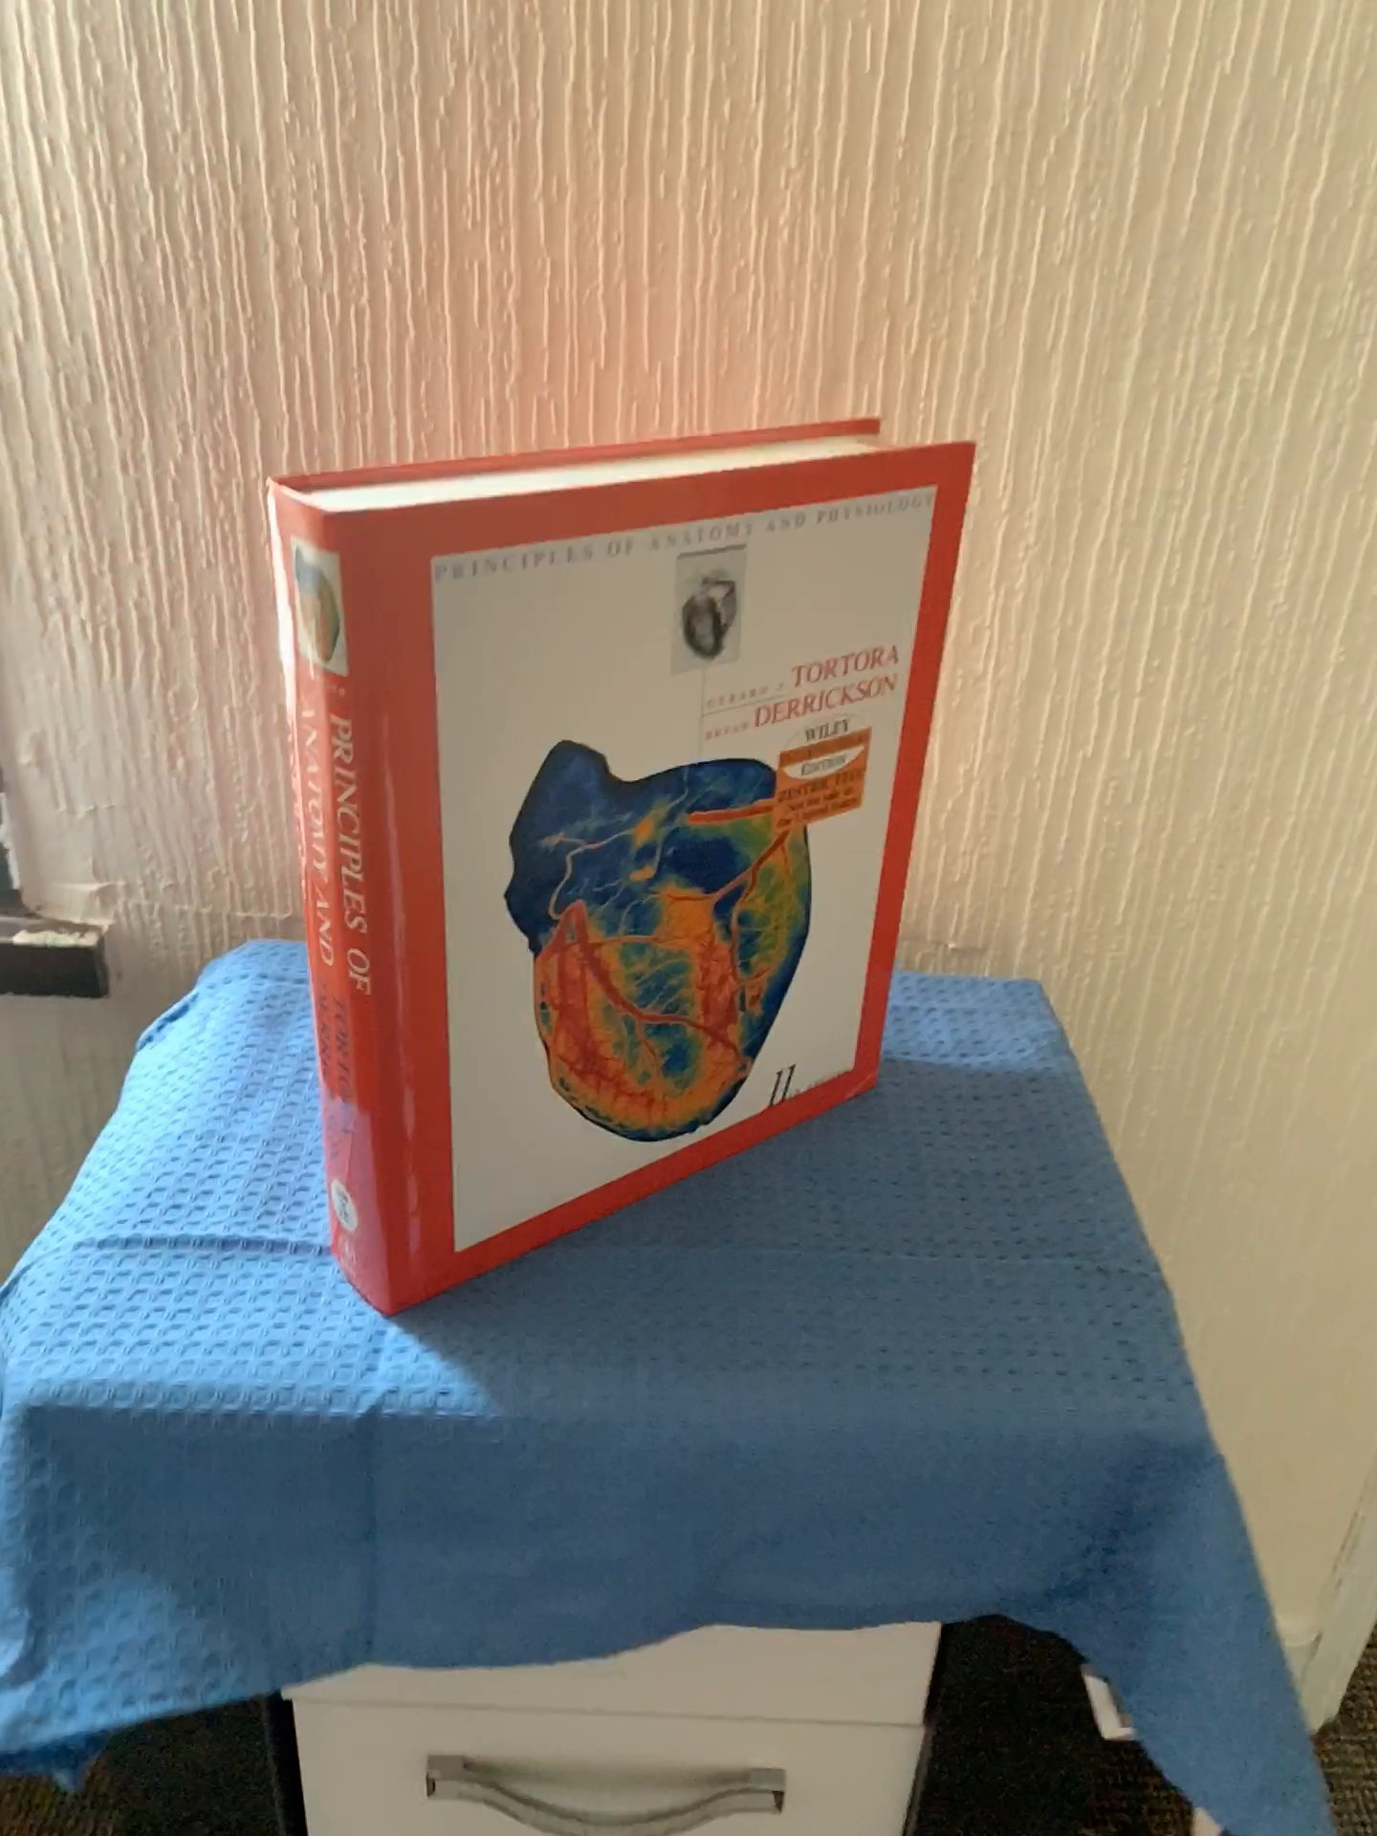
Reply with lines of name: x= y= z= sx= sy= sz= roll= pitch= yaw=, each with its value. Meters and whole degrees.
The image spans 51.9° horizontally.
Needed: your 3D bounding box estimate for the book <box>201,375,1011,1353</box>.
book: x=-0.016 y=-0.029 z=0.500 sx=0.261 sy=0.287 sz=0.060 roll=-18 pitch=34 yaw=-34
